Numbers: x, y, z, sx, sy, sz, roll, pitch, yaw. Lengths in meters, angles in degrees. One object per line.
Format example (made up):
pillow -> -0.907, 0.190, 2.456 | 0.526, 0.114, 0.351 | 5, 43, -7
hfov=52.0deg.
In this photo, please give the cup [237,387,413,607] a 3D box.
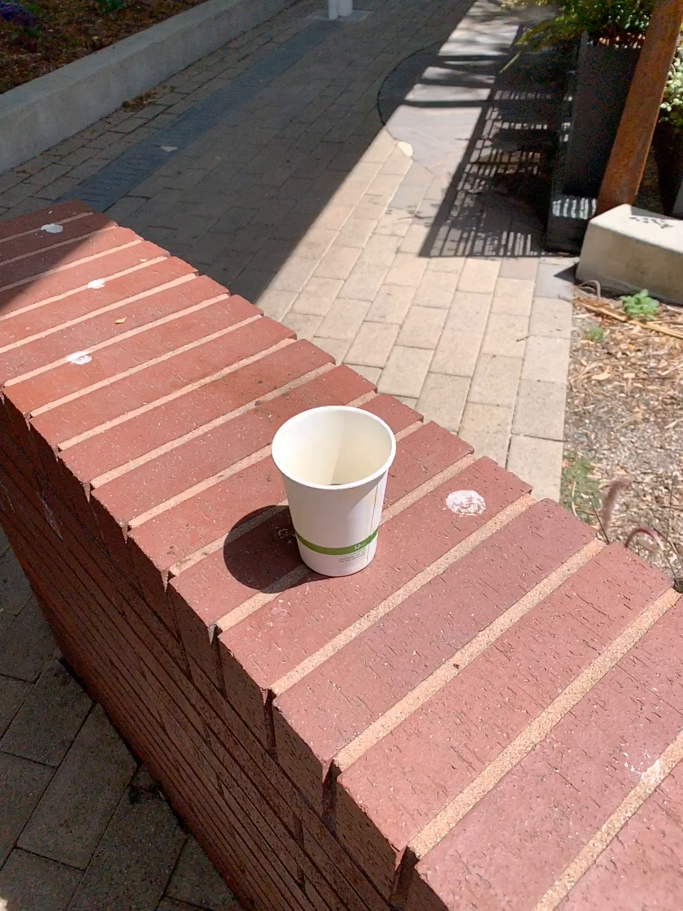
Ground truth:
cup -> -0.009, 0.030, 0.522 | 0.090, 0.109, 0.090 | 0, 42, 0
